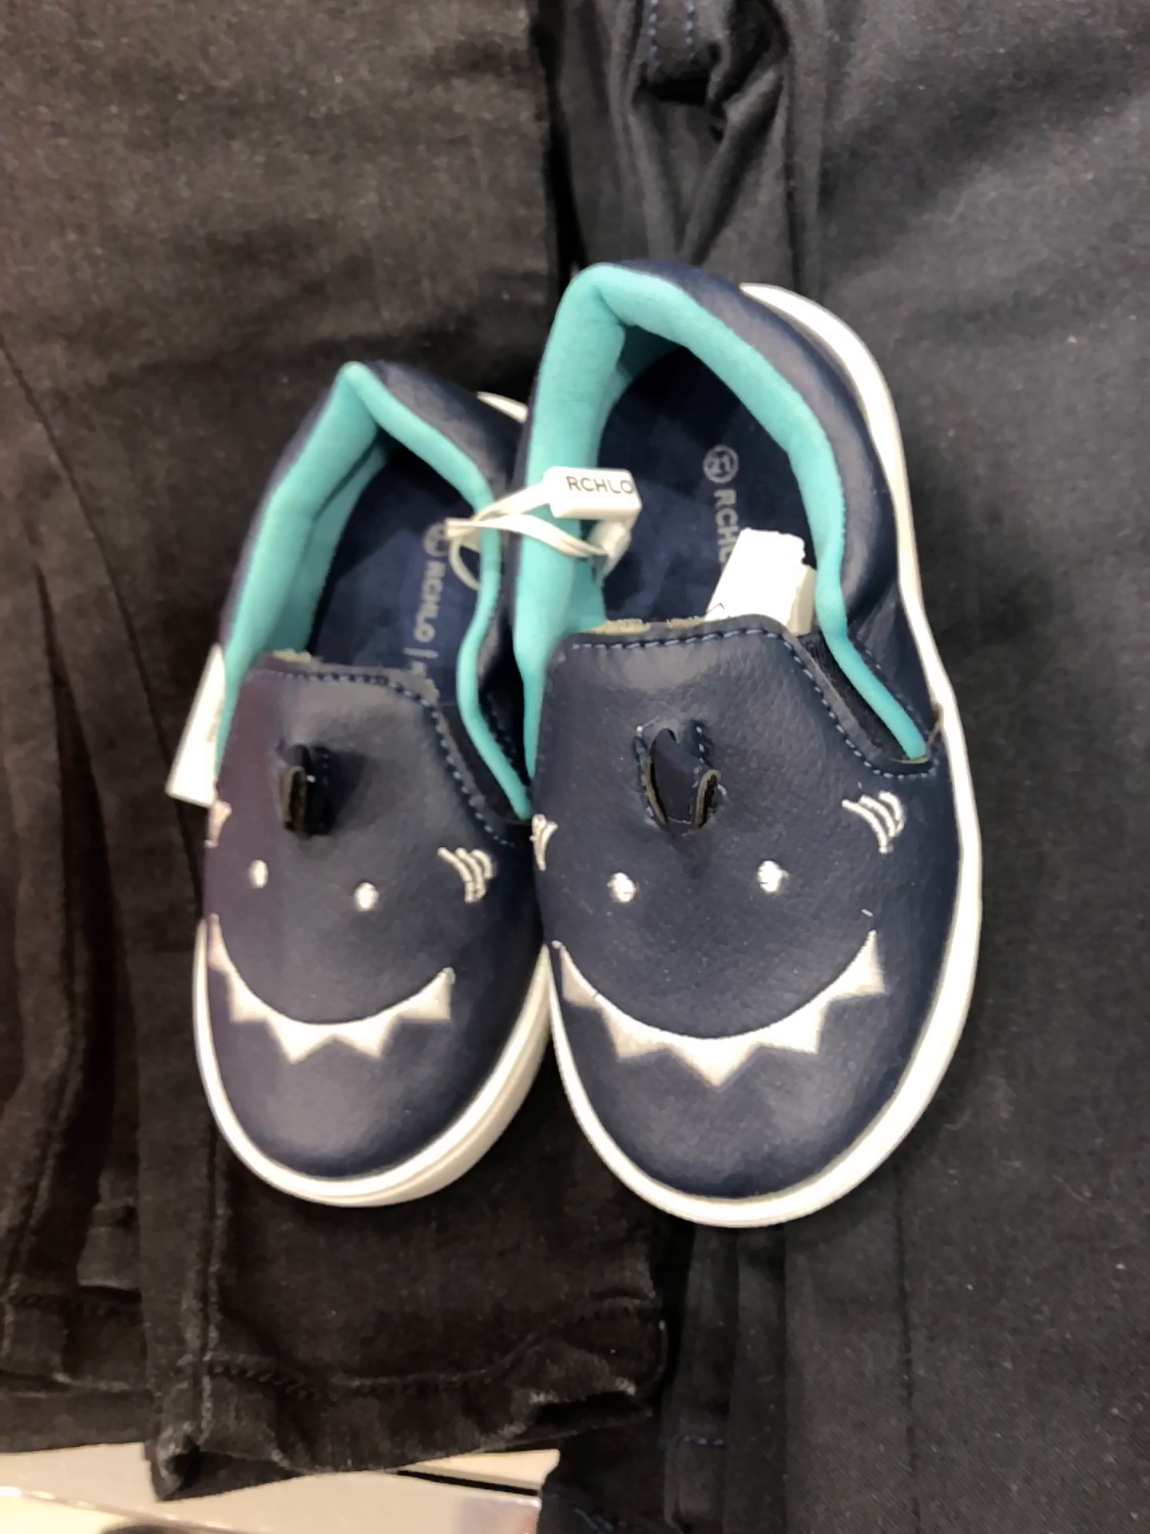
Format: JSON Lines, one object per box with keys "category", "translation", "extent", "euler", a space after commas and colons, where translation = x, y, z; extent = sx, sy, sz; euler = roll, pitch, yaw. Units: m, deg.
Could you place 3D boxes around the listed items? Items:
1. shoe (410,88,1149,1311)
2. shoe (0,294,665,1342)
{"category": "shoe", "translation": [0.026, -0.007, 0.189], "extent": [0.080, 0.050, 0.150], "euler": [-6, 79, 13]}
{"category": "shoe", "translation": [-0.035, 0.004, 0.218], "extent": [0.080, 0.050, 0.150], "euler": [3, 81, 15]}
